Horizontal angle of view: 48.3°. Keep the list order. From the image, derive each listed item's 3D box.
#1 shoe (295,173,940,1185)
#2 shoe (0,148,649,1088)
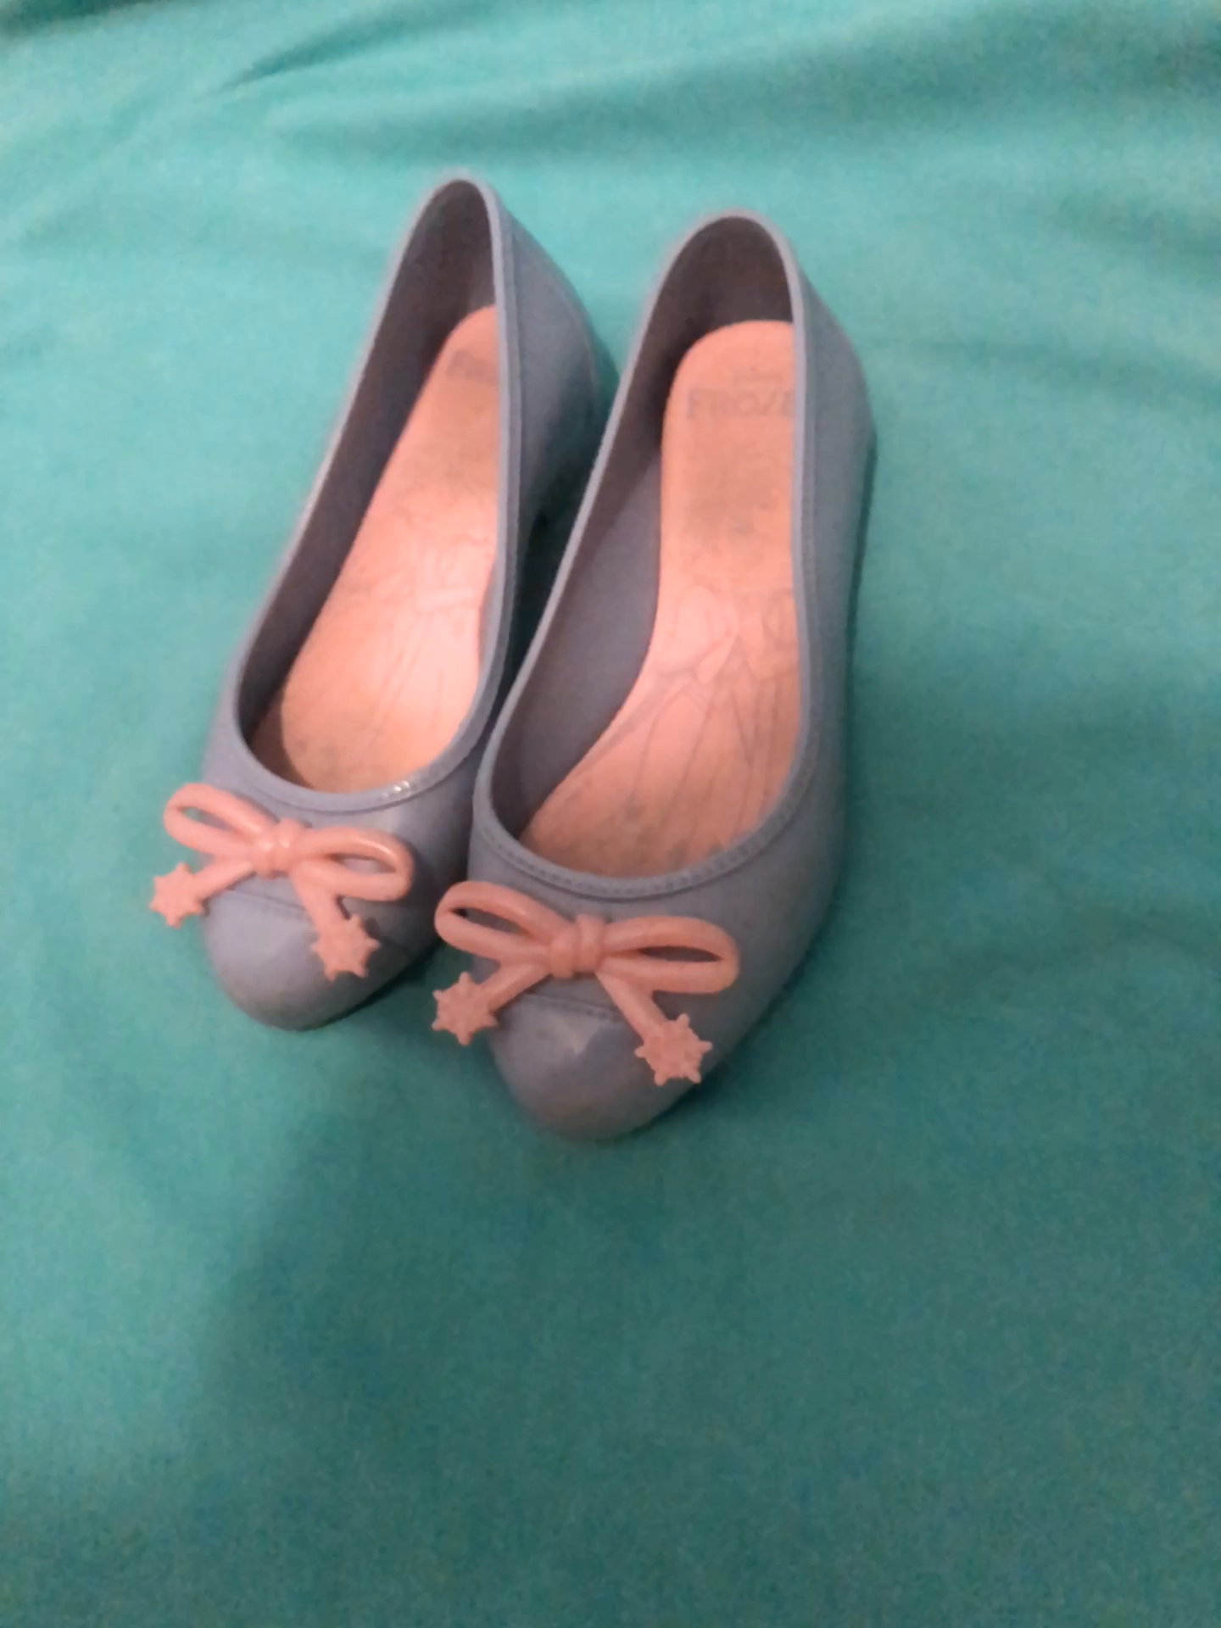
[{"bbox_3d":[0.013,-0.033,0.276,0.080,0.060,0.190,7,69,17],"label":"shoe"},{"bbox_3d":[-0.056,-0.047,0.295,0.080,0.060,0.190,7,69,17],"label":"shoe"}]
